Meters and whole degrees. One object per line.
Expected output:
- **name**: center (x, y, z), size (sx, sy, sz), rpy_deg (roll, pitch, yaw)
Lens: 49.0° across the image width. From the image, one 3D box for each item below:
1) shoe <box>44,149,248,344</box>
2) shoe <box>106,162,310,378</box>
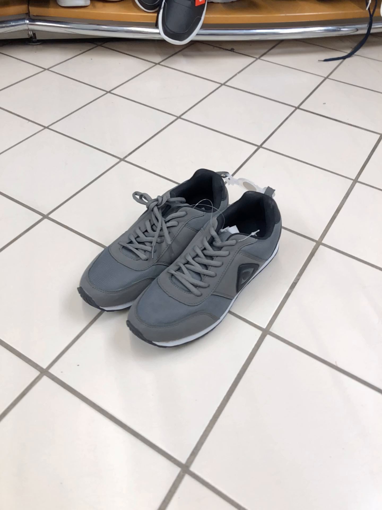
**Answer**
- **shoe**: center (-0.046, -0.027, 0.590), size (0.100, 0.099, 0.292), rpy_deg (30, 52, 23)
- **shoe**: center (0.034, 0.003, 0.550), size (0.100, 0.099, 0.292), rpy_deg (30, 52, 23)
